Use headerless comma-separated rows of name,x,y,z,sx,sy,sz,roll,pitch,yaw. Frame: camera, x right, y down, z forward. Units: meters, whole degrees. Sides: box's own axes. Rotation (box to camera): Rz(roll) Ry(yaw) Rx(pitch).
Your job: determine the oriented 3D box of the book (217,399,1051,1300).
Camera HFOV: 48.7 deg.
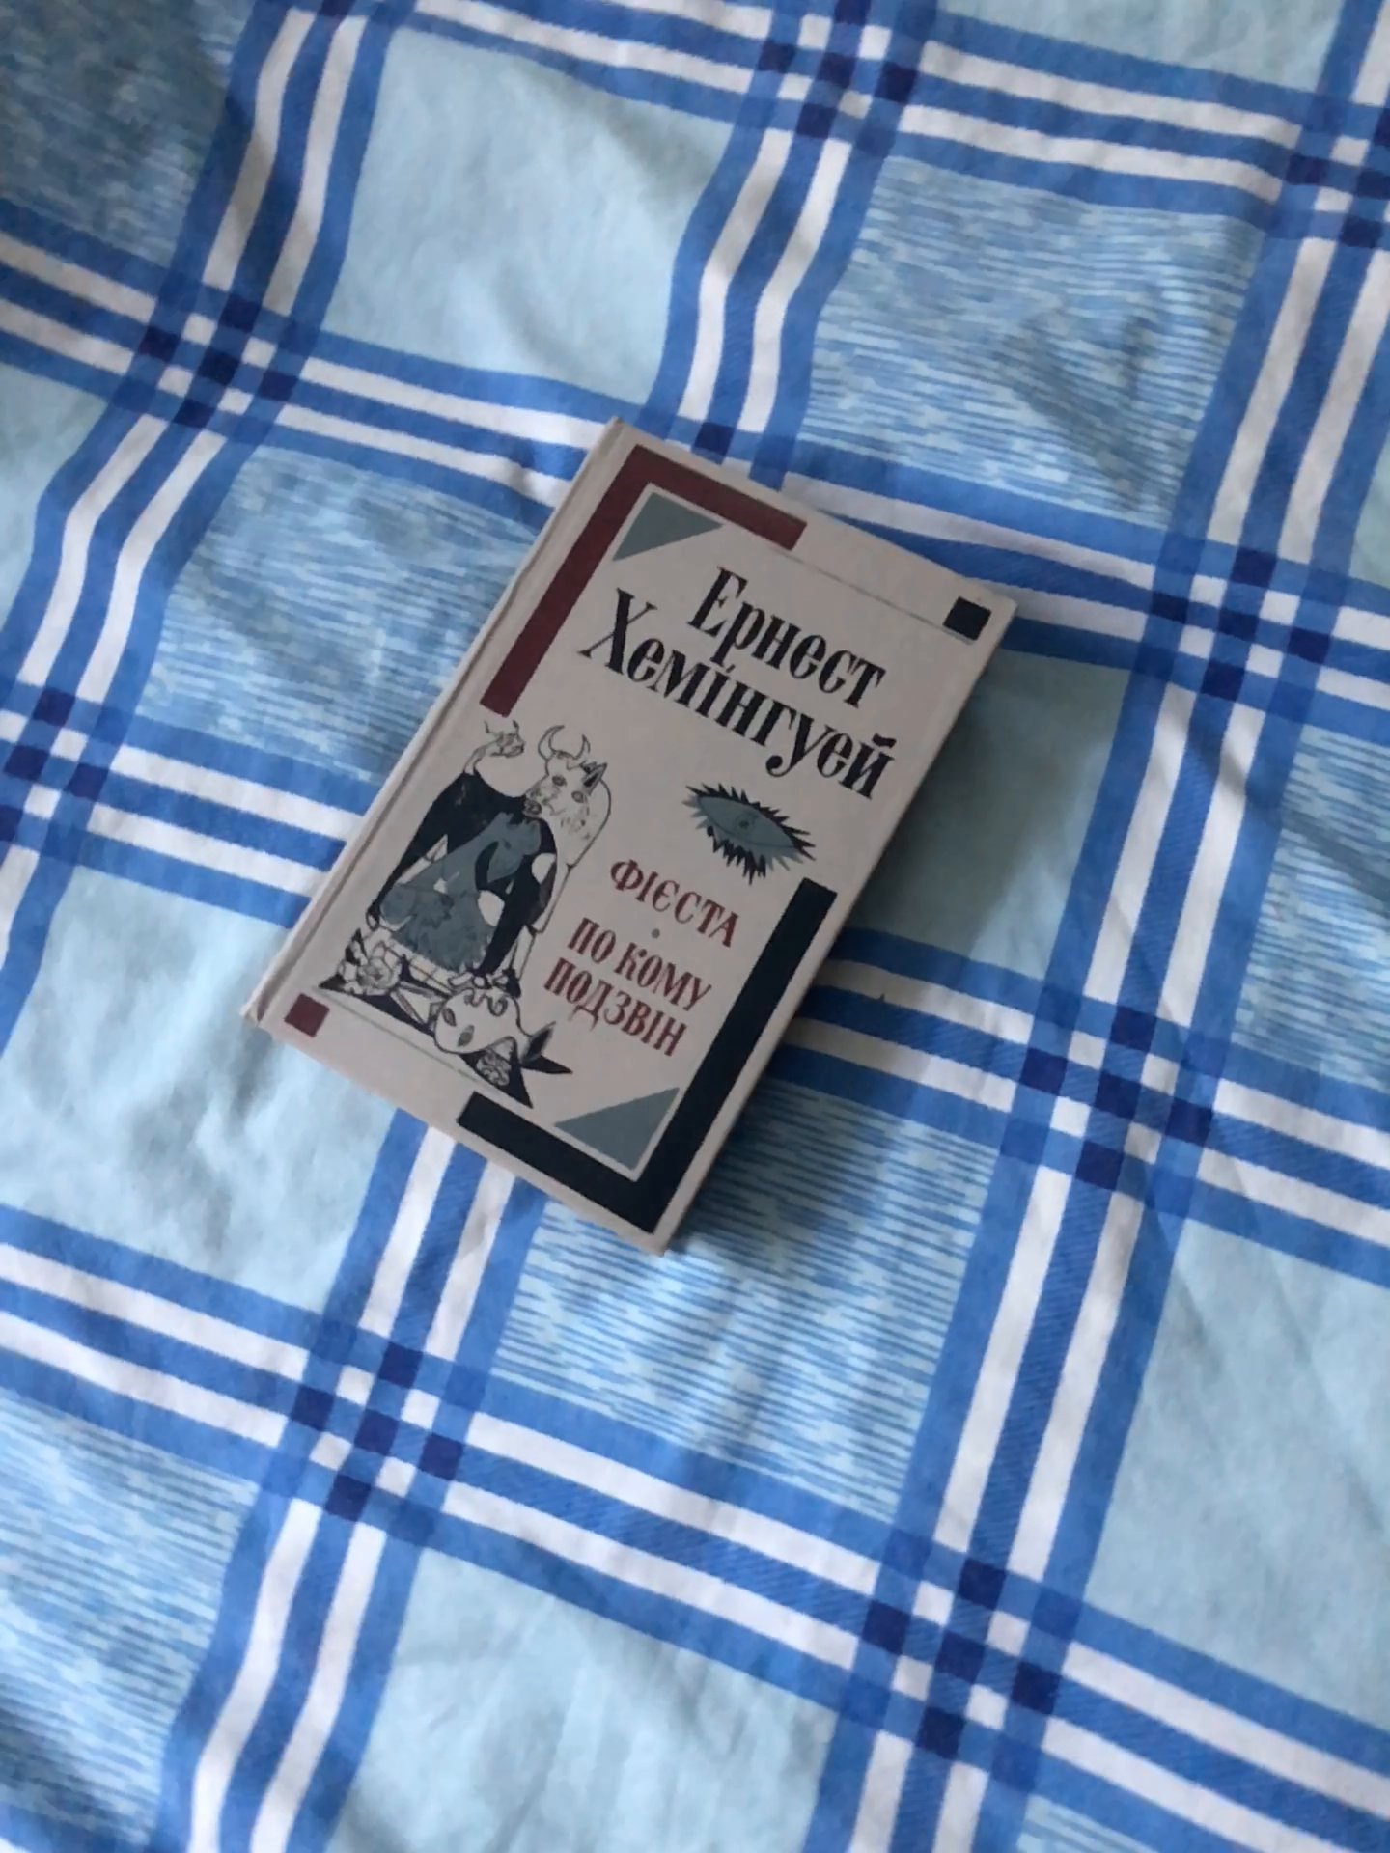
book,-0.014,-0.026,0.445,0.142,0.040,0.220,28,80,12
